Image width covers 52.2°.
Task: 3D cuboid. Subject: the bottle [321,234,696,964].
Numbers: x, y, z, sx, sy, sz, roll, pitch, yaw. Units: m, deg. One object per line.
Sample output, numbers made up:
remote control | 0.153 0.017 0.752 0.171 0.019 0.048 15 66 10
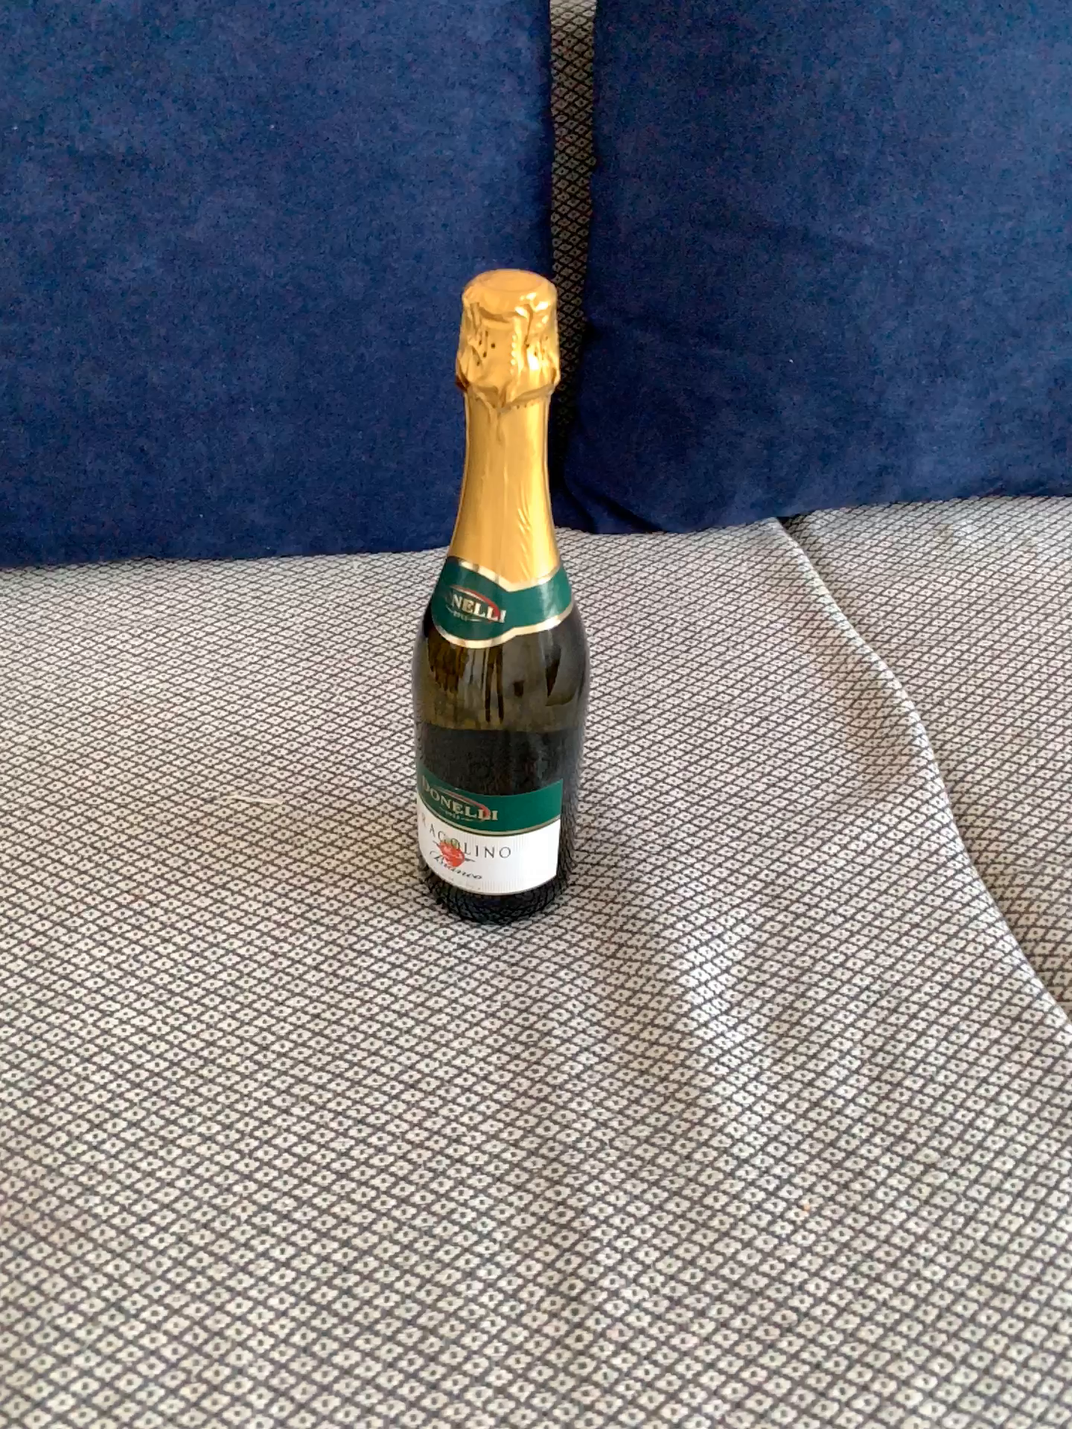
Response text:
bottle | -0.008 -0.032 0.463 0.090 0.289 0.090 0 42 0
